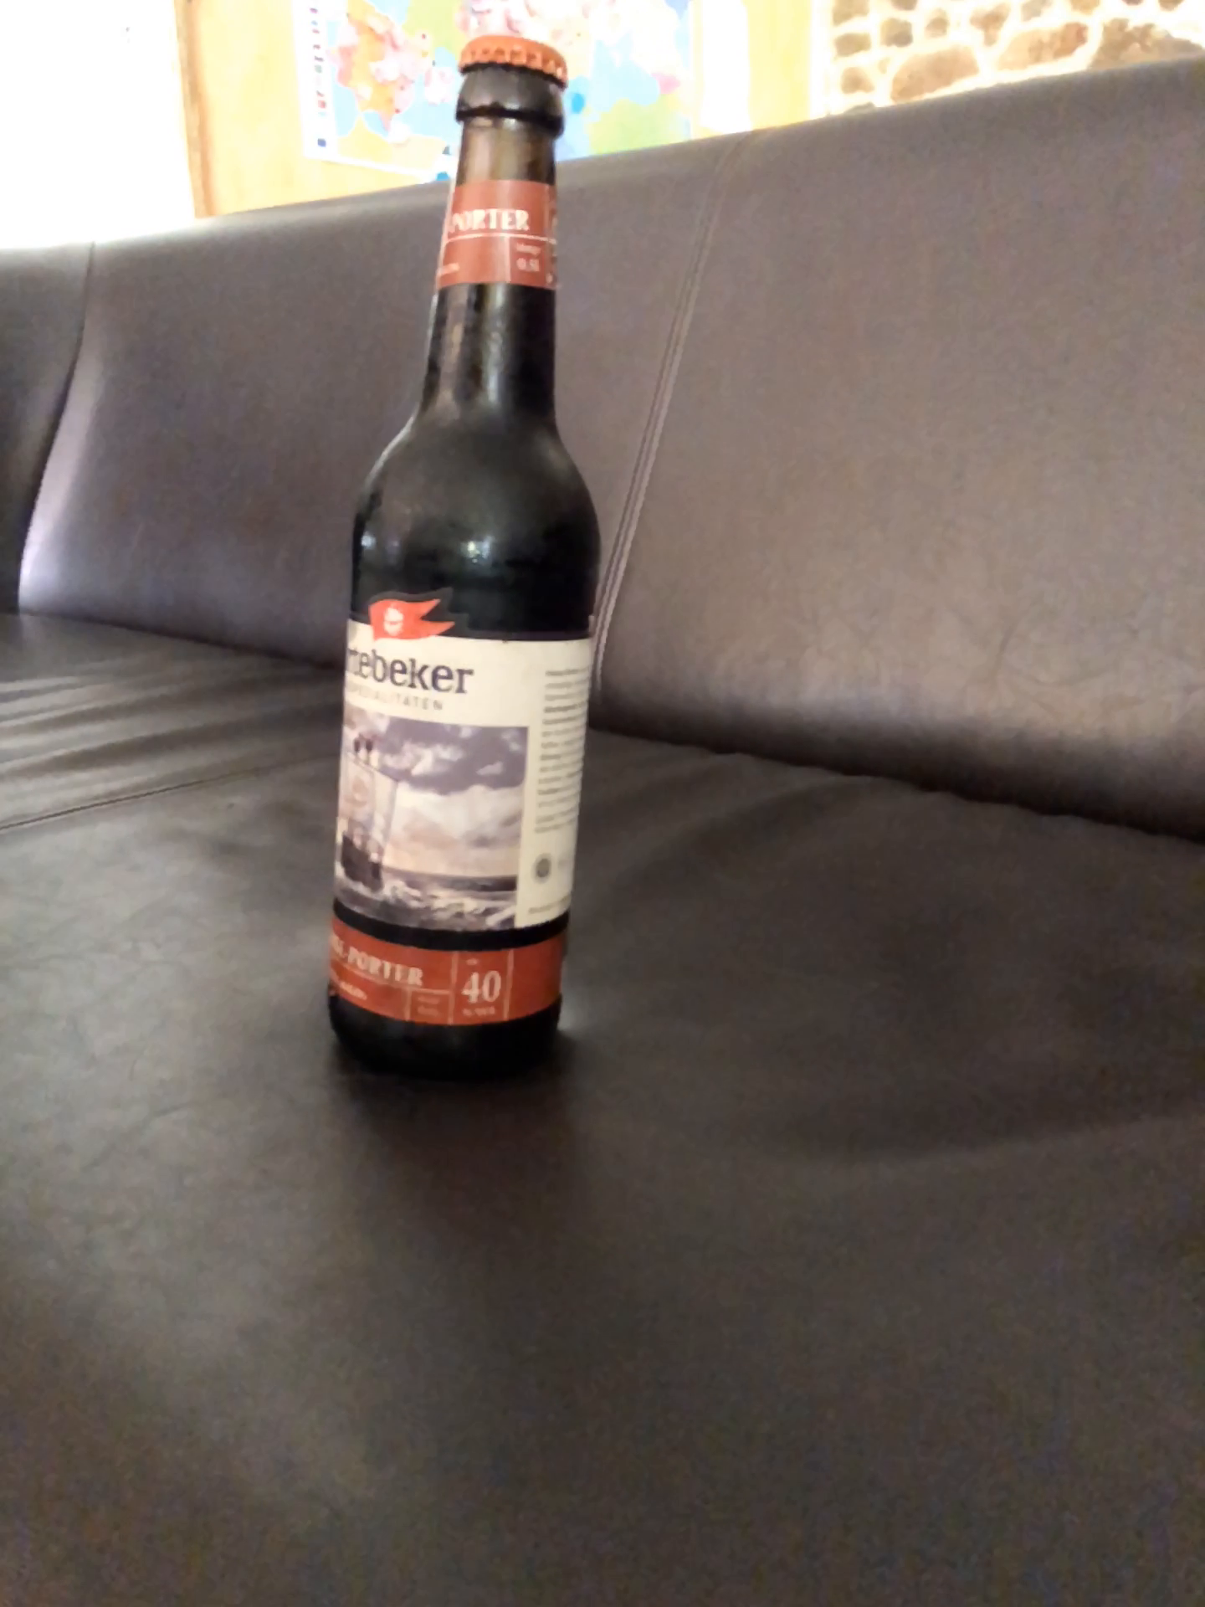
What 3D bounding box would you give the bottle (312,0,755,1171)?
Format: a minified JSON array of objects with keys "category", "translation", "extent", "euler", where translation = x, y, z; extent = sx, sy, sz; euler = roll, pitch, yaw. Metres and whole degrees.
[{"category":"bottle","translation":[-0.026,-0.055,0.358],"extent":[0.080,0.279,0.080],"euler":[3,14,-1]}]
